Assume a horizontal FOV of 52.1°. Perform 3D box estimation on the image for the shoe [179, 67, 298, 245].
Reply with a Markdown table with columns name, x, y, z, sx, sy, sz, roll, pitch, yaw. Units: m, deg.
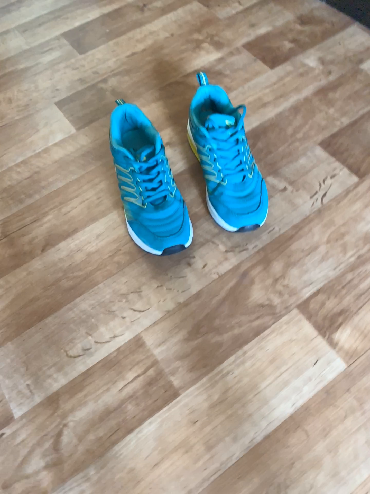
| name | x | y | z | sx | sy | sz | roll | pitch | yaw |
| --- | --- | --- | --- | --- | --- | --- | --- | --- | --- |
| shoe | 0.069 | -0.145 | 0.596 | 0.100 | 0.120 | 0.240 | -13 | 62 | -6 |

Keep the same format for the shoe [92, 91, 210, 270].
| name | x | y | z | sx | sy | sz | roll | pitch | yaw |
| --- | --- | --- | --- | --- | --- | --- | --- | --- | --- |
| shoe | -0.055 | -0.104 | 0.577 | 0.100 | 0.120 | 0.230 | -17 | 62 | -10 |
